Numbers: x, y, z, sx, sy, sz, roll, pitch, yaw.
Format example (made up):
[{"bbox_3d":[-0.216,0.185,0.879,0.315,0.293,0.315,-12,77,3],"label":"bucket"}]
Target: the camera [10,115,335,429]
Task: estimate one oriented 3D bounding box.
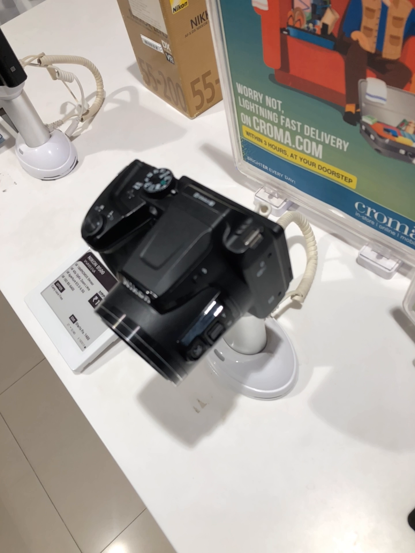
[{"bbox_3d":[-0.013,-0.008,0.241,0.110,0.070,0.110,32,69,28],"label":"camera"}]
